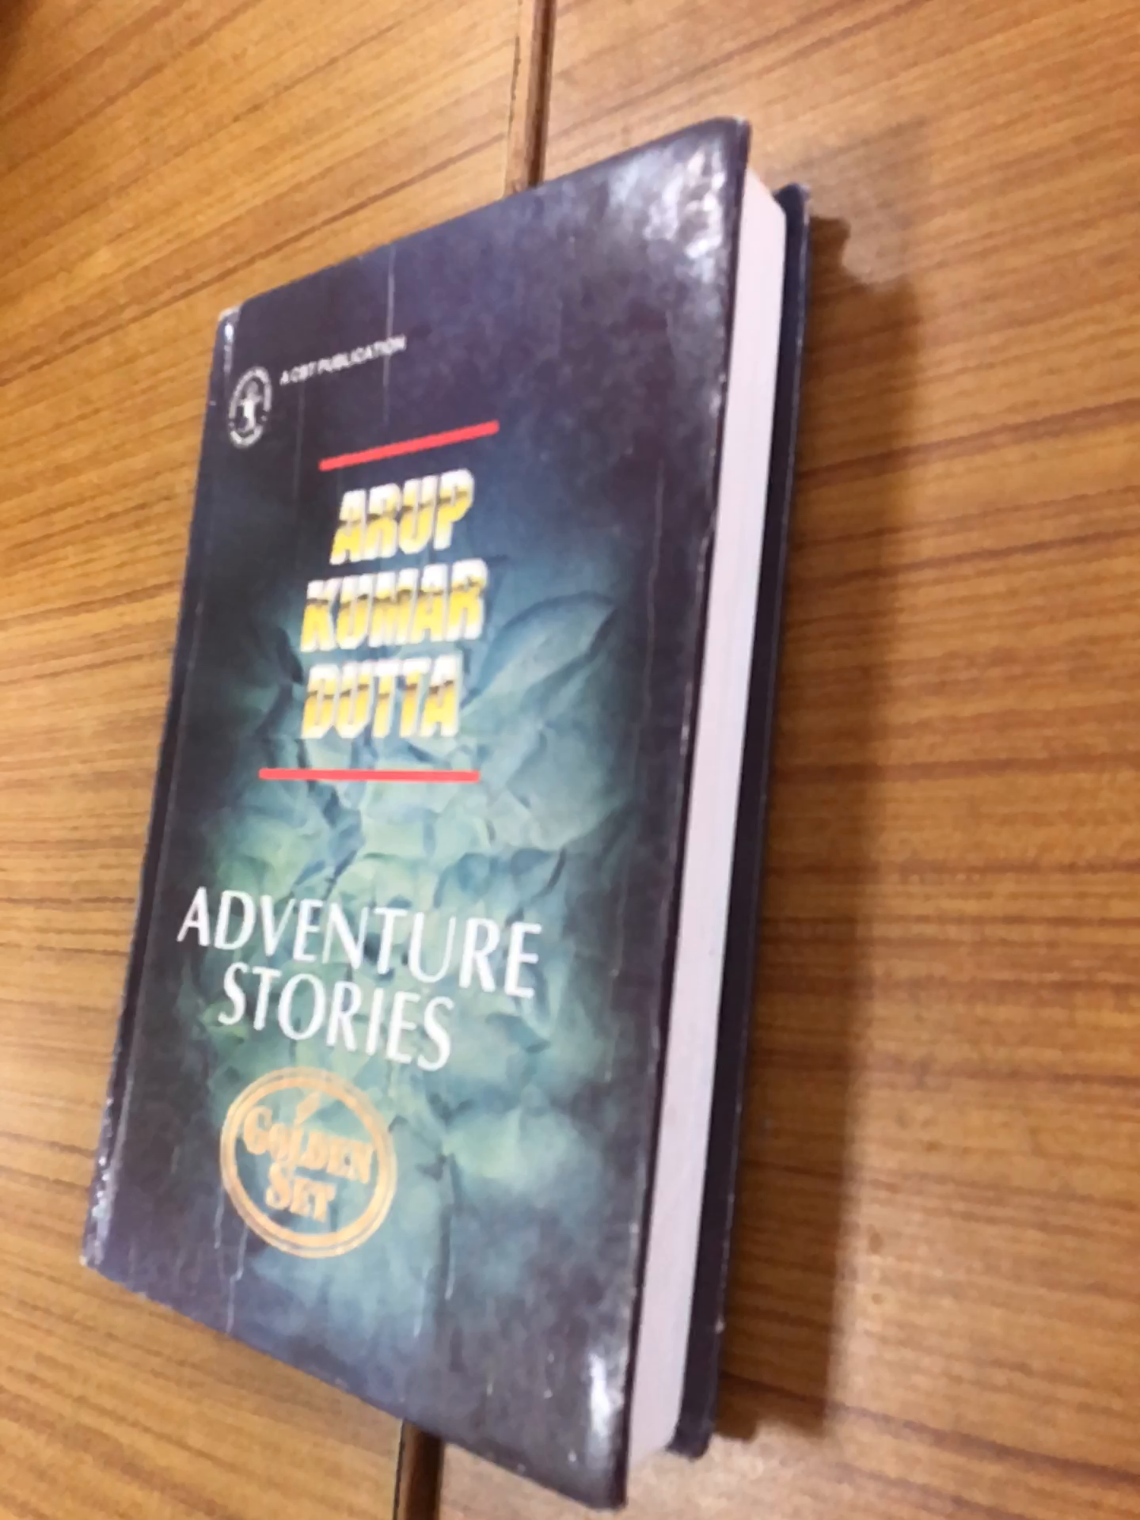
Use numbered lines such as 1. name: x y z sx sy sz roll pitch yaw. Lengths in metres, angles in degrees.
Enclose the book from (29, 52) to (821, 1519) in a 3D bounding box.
1. book: -0.033 0.004 0.237 0.146 0.036 0.218 -1 81 38
